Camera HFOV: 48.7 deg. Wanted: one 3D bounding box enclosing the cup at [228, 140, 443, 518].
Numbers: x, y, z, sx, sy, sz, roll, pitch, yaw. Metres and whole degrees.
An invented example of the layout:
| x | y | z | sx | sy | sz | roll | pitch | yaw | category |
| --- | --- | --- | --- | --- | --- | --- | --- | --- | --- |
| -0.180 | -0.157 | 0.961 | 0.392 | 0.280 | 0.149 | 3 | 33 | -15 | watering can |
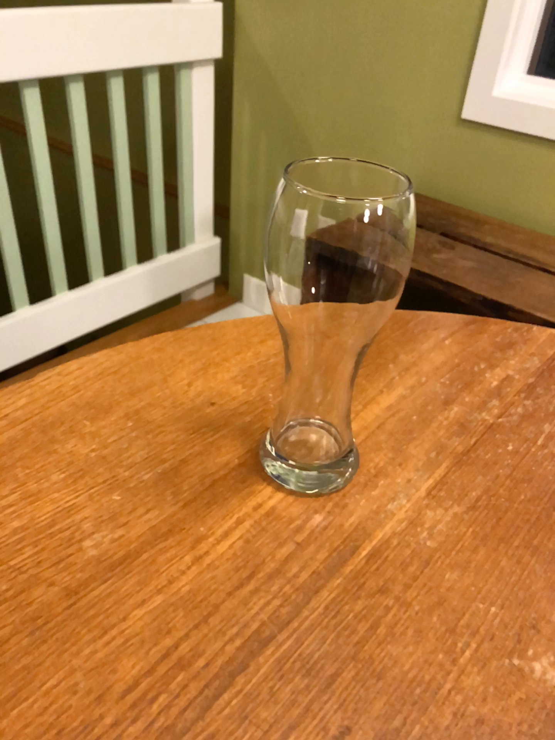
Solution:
| x | y | z | sx | sy | sz | roll | pitch | yaw | category |
| --- | --- | --- | --- | --- | --- | --- | --- | --- | --- |
| 0.032 | -0.023 | 0.414 | 0.093 | 0.222 | 0.088 | 3 | 35 | -2 | cup |
